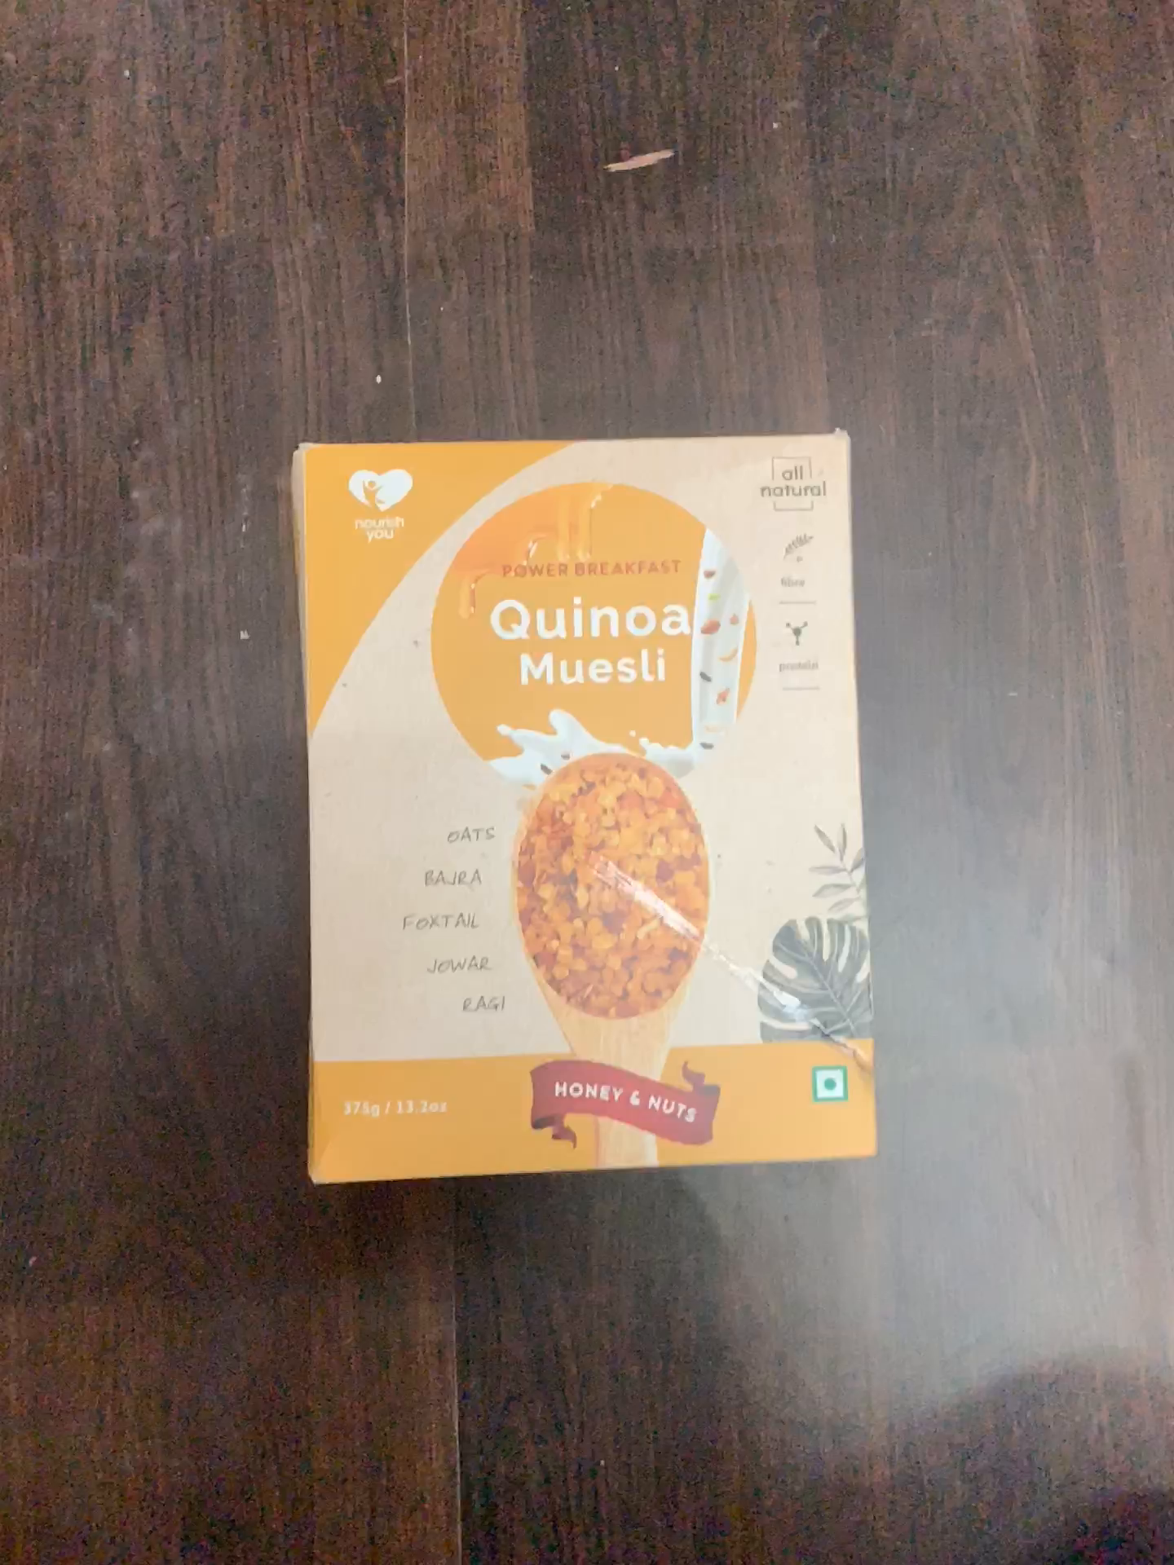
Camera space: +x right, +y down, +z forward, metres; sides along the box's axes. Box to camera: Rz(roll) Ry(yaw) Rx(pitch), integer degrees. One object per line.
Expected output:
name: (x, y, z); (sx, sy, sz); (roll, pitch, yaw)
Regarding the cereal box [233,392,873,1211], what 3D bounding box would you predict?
cereal box: (-0.011, 0.004, 0.358); (0.170, 0.060, 0.220); (-1, 88, -1)
